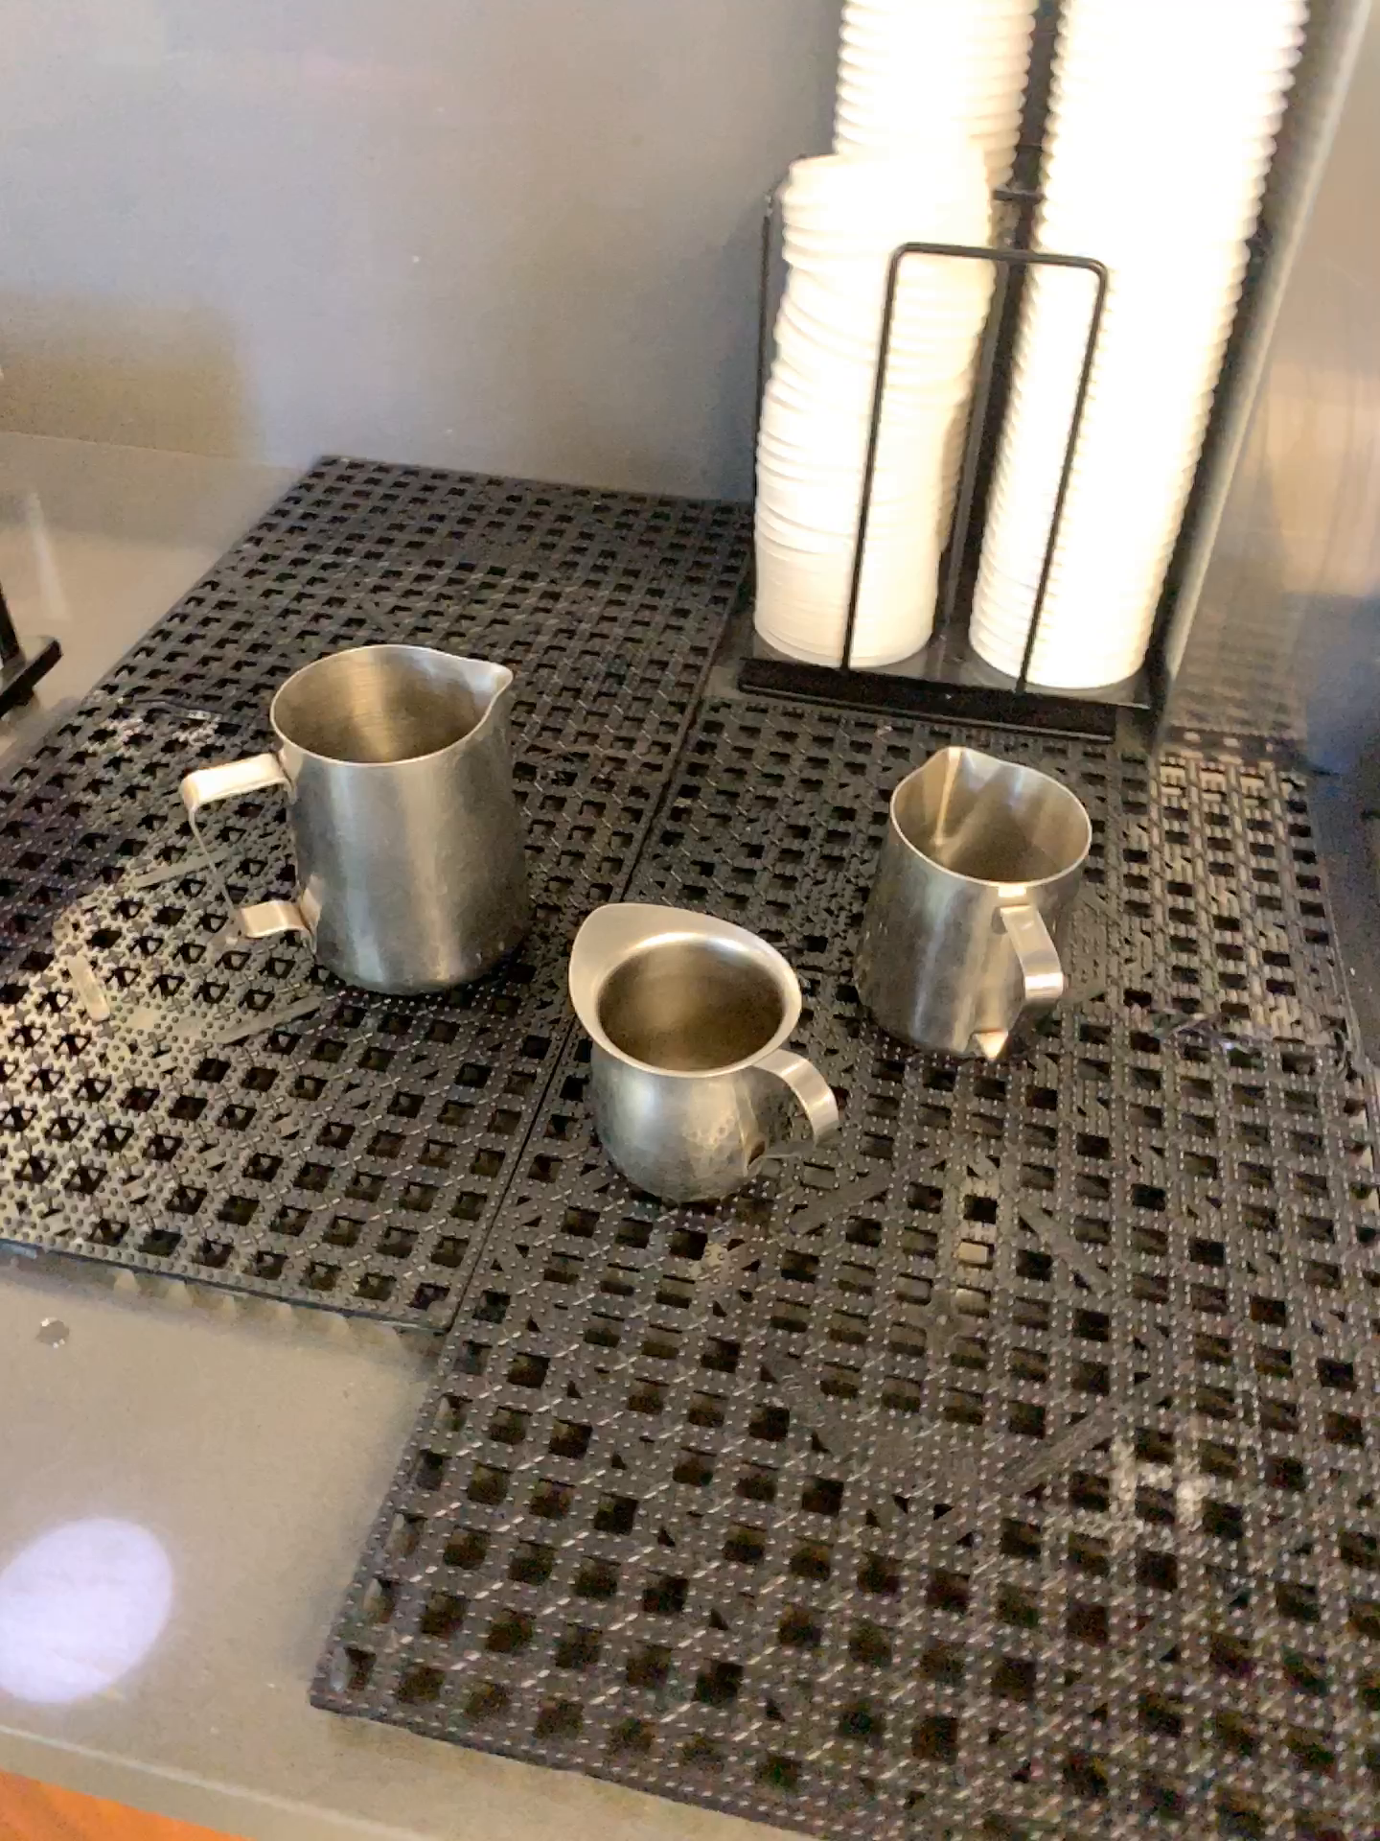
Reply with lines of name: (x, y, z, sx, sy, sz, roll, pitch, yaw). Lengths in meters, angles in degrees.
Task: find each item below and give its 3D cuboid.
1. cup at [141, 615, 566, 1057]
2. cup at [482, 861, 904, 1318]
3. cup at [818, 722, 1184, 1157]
cup: (-0.117, -0.032, 0.515, 0.120, 0.109, 0.070, -20, 46, -23)
cup: (-0.002, 0.049, 0.447, 0.070, 0.070, 0.110, -31, 50, -31)
cup: (0.099, 0.002, 0.494, 0.080, 0.080, 0.131, -3, 41, -6)
